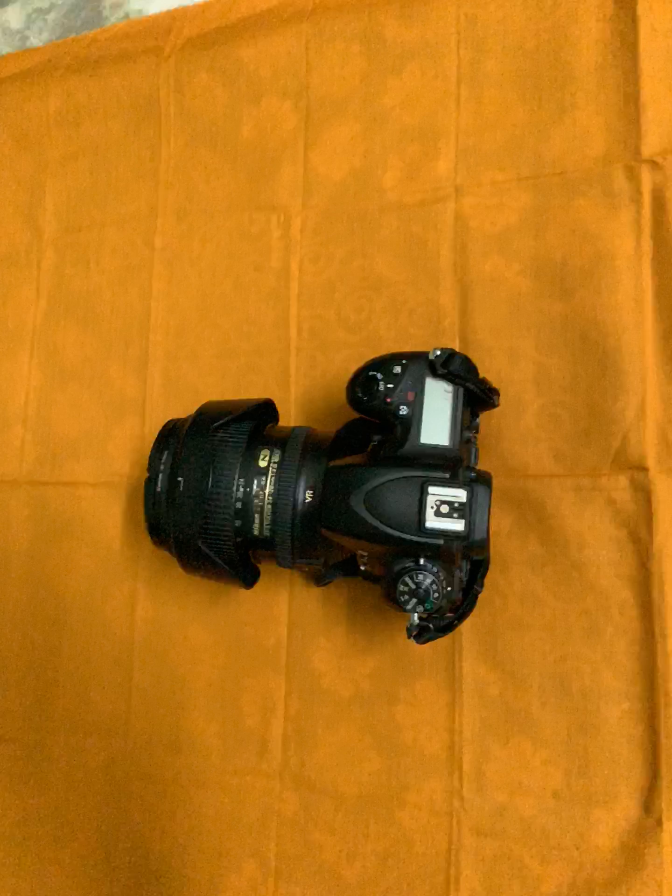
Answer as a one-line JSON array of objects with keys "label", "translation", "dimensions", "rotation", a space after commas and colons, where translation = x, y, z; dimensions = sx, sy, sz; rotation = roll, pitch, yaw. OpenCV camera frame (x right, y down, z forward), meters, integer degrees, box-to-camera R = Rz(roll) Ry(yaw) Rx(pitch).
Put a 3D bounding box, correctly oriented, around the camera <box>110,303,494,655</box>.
[{"label": "camera", "translation": [-0.009, 0.017, 0.374], "dimensions": [0.170, 0.110, 0.151], "rotation": [1, 82, 18]}]
